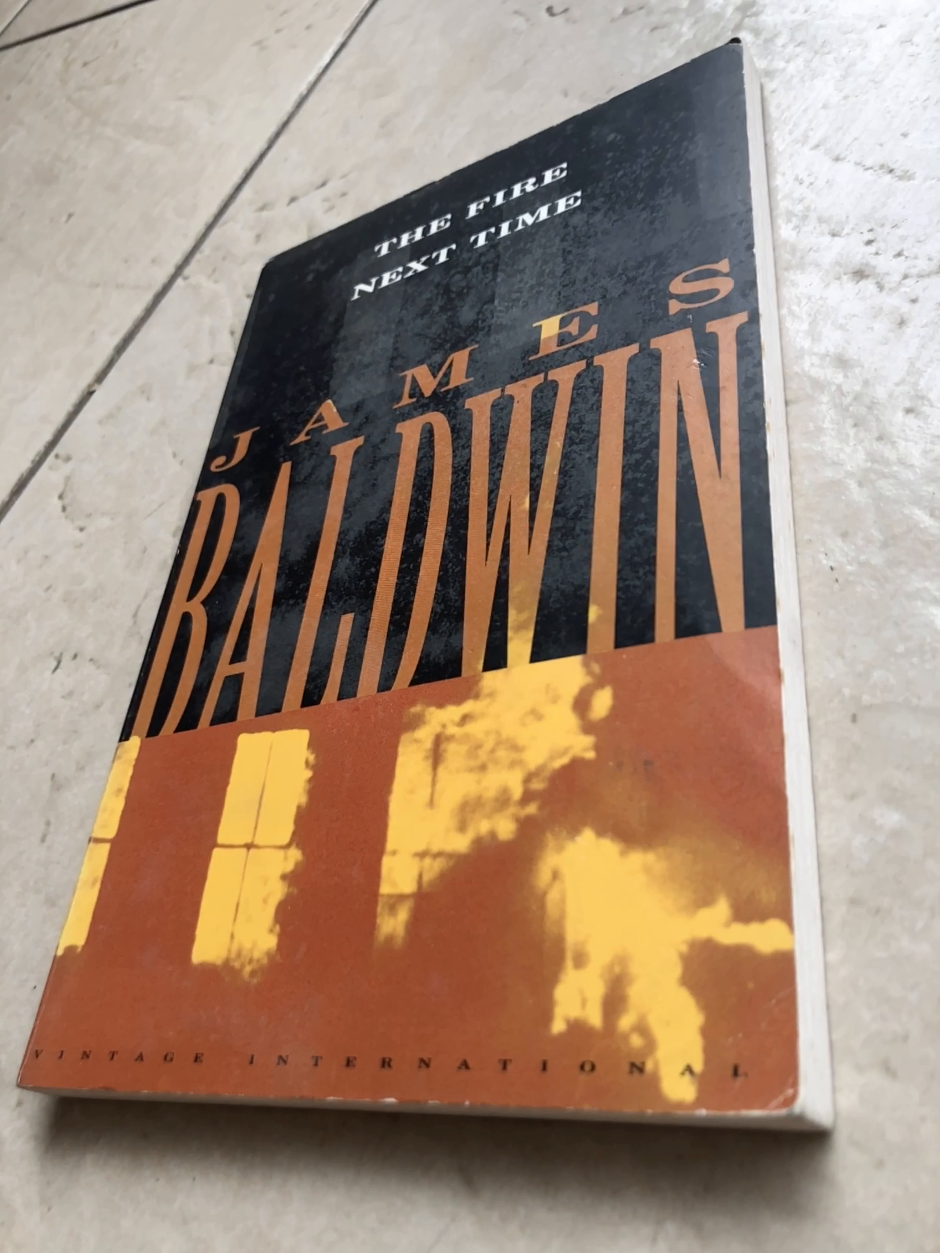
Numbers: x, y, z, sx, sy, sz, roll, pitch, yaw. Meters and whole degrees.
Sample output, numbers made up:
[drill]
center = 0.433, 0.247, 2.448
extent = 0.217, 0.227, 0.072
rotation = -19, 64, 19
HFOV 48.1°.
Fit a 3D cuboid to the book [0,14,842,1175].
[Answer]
[book]
center = -0.009, -0.019, 0.191
extent = 0.130, 0.016, 0.201
rotation = -12, 54, 29
